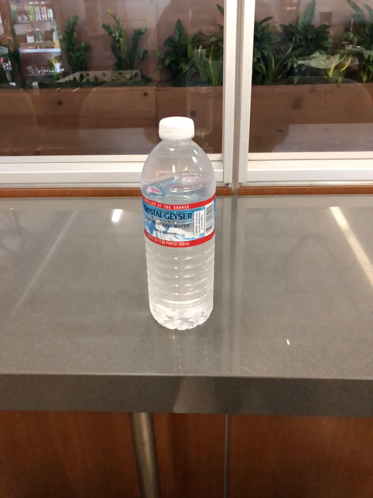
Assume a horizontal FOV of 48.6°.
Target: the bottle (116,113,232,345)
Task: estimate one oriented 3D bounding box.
[{"bbox_3d":[-0.005,-0.016,0.374,0.070,0.189,0.070,-2,29,1],"label":"bottle"}]
